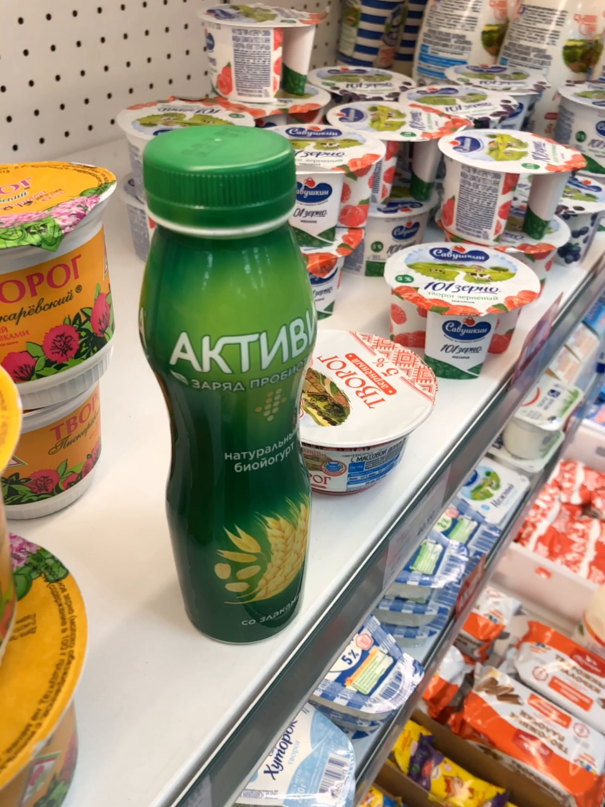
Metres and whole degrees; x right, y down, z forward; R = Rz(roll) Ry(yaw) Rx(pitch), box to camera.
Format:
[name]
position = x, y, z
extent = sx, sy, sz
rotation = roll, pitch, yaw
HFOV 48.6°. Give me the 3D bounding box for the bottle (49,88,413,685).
[bottle]
position = -0.022, 0.003, 0.226
extent = 0.070, 0.183, 0.060
rotation = -26, 46, -32
